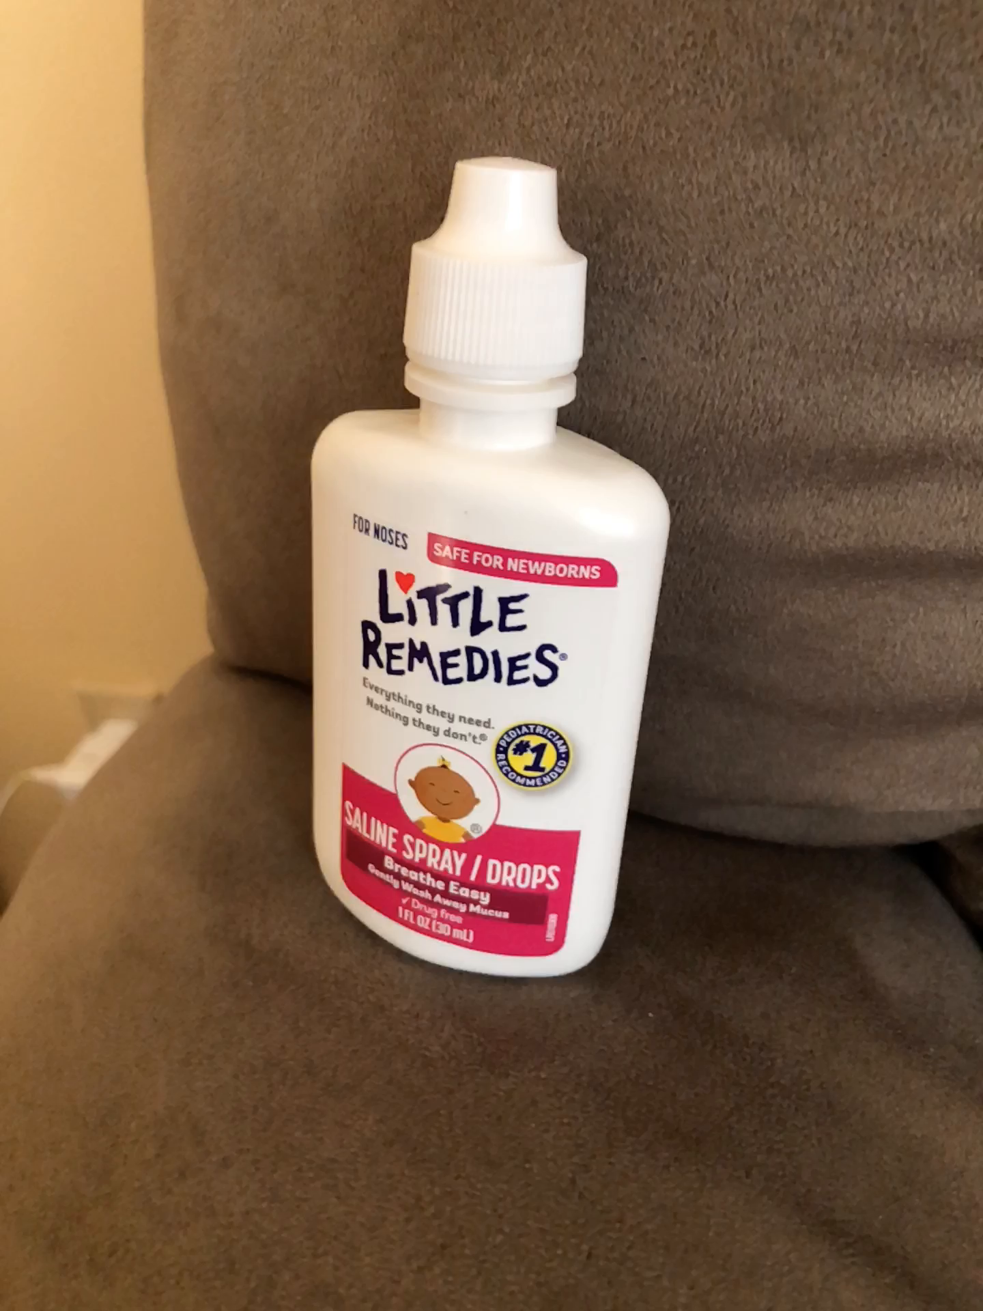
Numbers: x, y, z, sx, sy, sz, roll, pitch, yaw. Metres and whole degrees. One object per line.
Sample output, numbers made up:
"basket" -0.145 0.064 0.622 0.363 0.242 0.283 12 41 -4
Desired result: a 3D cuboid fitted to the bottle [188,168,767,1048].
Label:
"bottle" -0.001 -0.006 0.156 0.060 0.110 0.030 14 32 26
